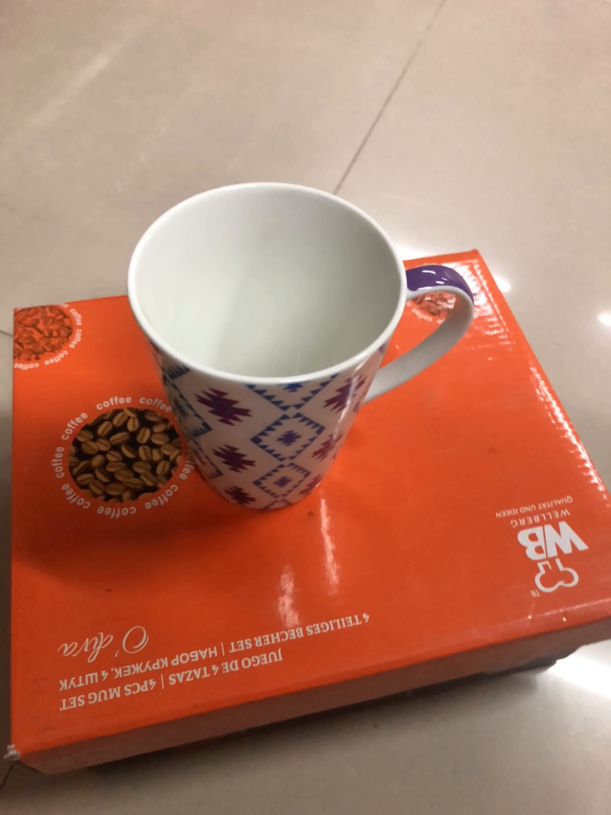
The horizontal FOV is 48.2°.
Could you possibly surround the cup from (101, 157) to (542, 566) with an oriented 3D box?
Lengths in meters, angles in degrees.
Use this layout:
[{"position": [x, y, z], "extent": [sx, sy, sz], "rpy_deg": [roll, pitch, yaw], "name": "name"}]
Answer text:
[{"position": [-0.001, -0.013, 0.241], "extent": [0.110, 0.100, 0.080], "rpy_deg": [-12, 59, -12], "name": "cup"}]
